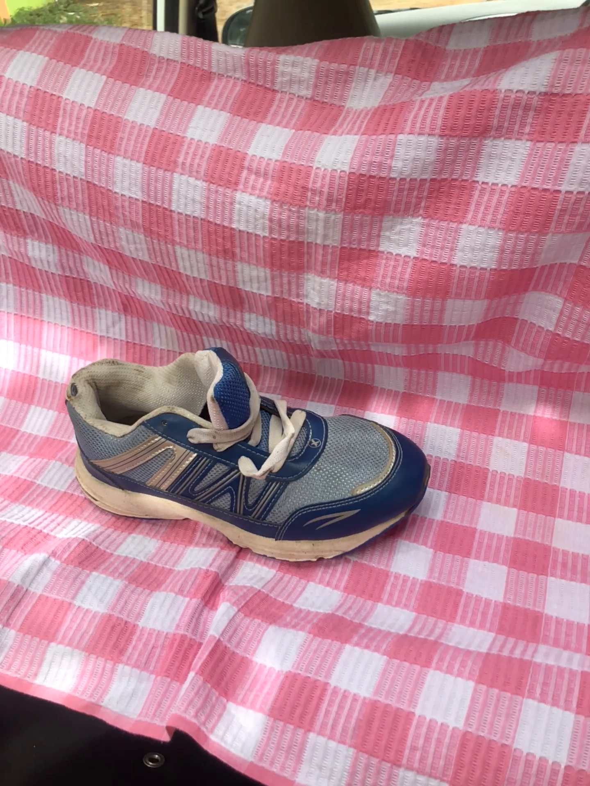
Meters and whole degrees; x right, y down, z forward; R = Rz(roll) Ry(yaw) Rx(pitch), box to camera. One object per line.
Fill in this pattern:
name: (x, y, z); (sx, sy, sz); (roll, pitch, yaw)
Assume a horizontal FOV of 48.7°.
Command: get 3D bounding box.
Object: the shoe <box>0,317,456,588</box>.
shoe: (-0.040, 0.030, 0.457); (0.280, 0.099, 0.111); (8, 38, 18)
